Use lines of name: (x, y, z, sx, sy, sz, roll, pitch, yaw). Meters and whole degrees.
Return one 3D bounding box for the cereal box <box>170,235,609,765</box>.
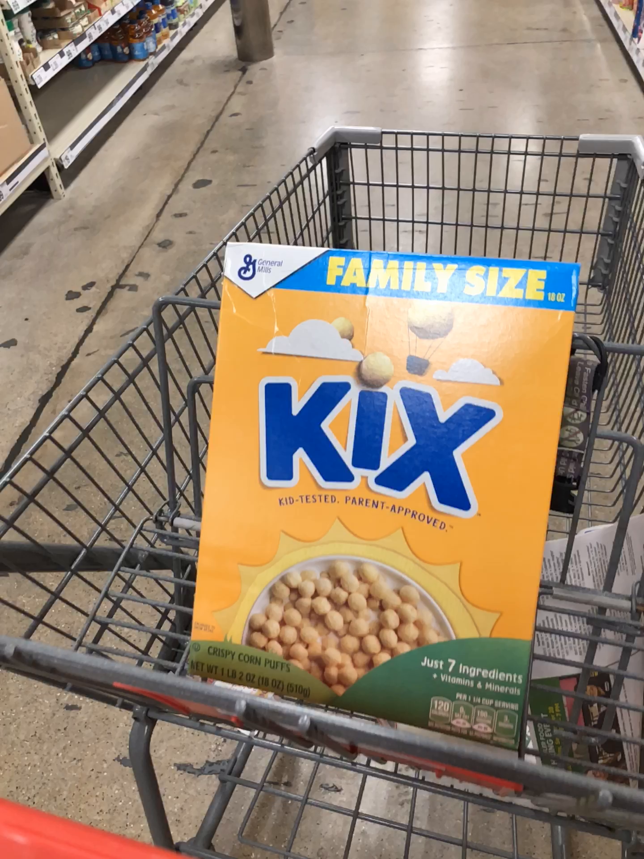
cereal box: (0.039, 0.038, 0.505, 0.260, 0.320, 0.070, 7, 5, 14)
